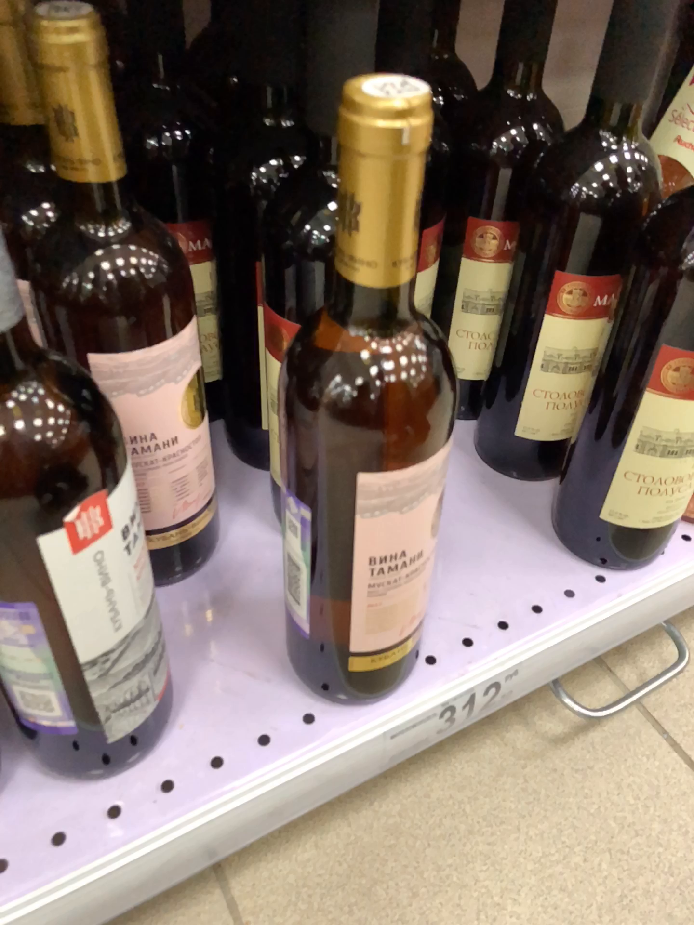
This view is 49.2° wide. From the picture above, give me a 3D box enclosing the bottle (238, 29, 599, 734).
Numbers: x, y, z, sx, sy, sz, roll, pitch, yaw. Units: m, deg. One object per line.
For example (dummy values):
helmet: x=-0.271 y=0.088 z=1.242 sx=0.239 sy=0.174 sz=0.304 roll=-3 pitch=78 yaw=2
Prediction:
bottle: x=0.014 y=-0.007 z=0.319 sx=0.080 sy=0.290 sz=0.070 roll=-27 pitch=50 yaw=-29
